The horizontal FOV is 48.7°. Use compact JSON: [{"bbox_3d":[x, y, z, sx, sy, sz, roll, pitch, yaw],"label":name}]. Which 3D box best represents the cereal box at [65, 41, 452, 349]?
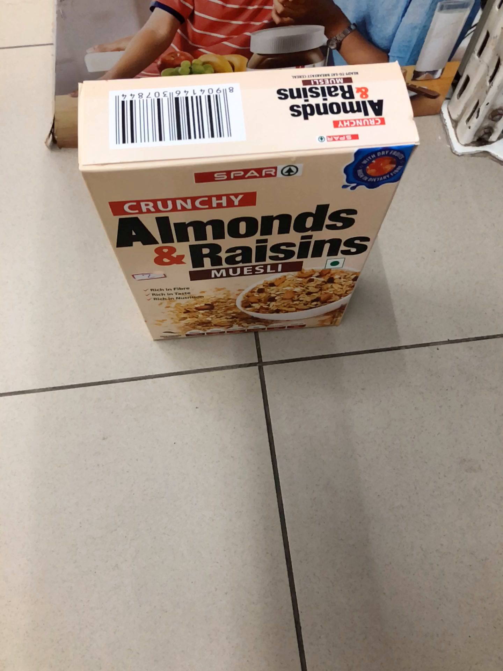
[{"bbox_3d":[0.000,-0.070,0.379,0.180,0.239,0.060,-5,68,-3],"label":"cereal box"}]
